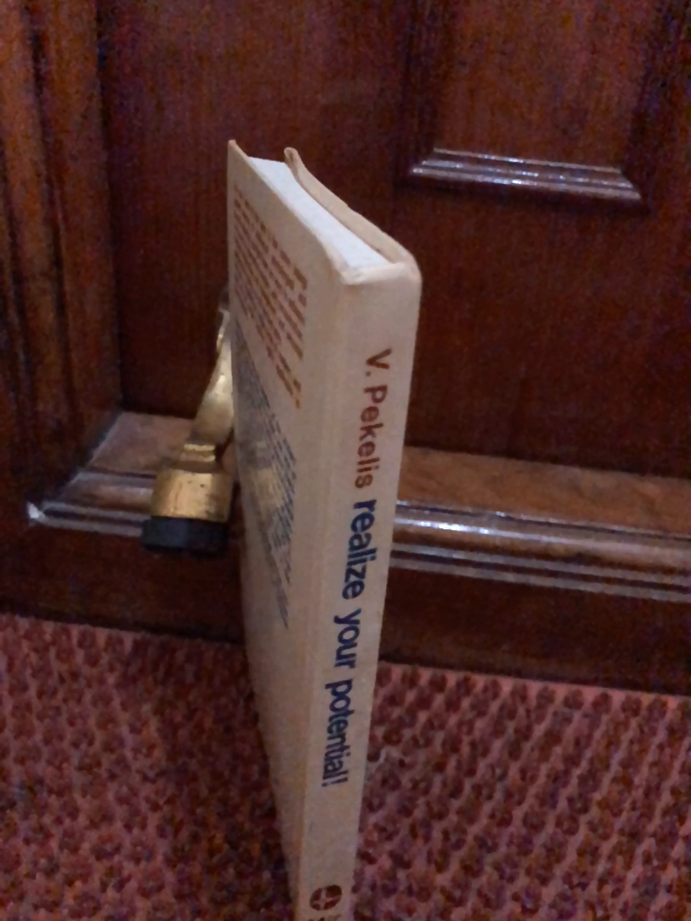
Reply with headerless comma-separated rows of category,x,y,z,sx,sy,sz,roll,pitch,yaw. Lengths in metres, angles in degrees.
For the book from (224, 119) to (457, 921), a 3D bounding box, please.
book,-0.016,0.020,0.239,0.030,0.209,0.151,-3,31,-10
